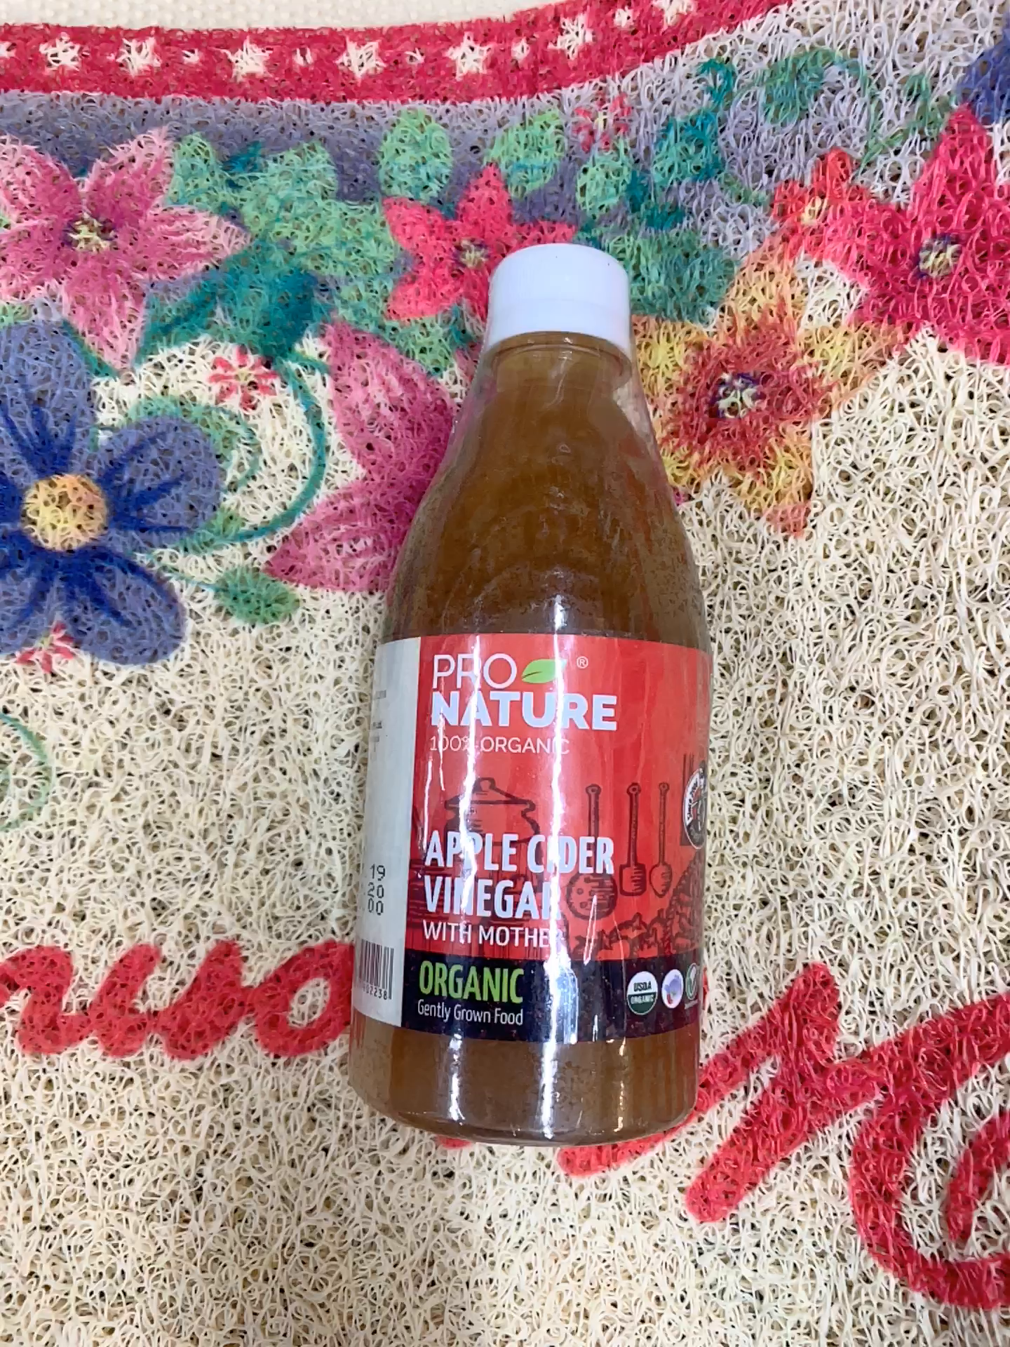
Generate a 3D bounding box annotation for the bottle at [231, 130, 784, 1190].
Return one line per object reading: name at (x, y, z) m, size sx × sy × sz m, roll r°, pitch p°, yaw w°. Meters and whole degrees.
bottle at (0.001, -0.003, 0.186) m, size 0.080 × 0.050 × 0.160 m, roll 2°, pitch 91°, yaw 4°
